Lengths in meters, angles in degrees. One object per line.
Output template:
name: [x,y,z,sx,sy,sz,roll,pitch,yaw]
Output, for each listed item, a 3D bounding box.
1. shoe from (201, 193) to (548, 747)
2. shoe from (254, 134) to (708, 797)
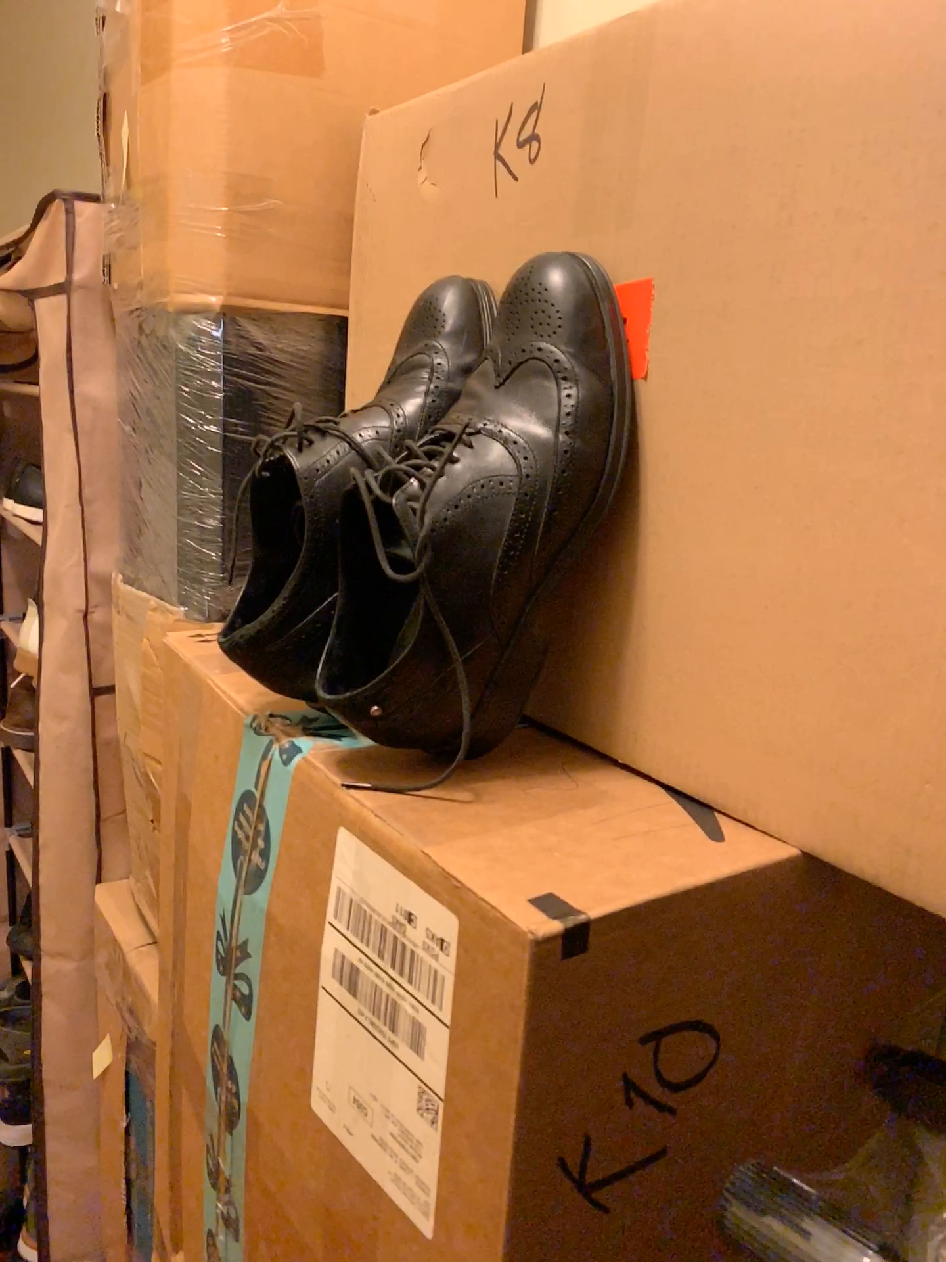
shoe: [-0.058,-0.085,0.570,0.100,0.280,0.120,16,-8,-40]
shoe: [-0.002,-0.075,0.485,0.100,0.280,0.120,14,4,-38]
